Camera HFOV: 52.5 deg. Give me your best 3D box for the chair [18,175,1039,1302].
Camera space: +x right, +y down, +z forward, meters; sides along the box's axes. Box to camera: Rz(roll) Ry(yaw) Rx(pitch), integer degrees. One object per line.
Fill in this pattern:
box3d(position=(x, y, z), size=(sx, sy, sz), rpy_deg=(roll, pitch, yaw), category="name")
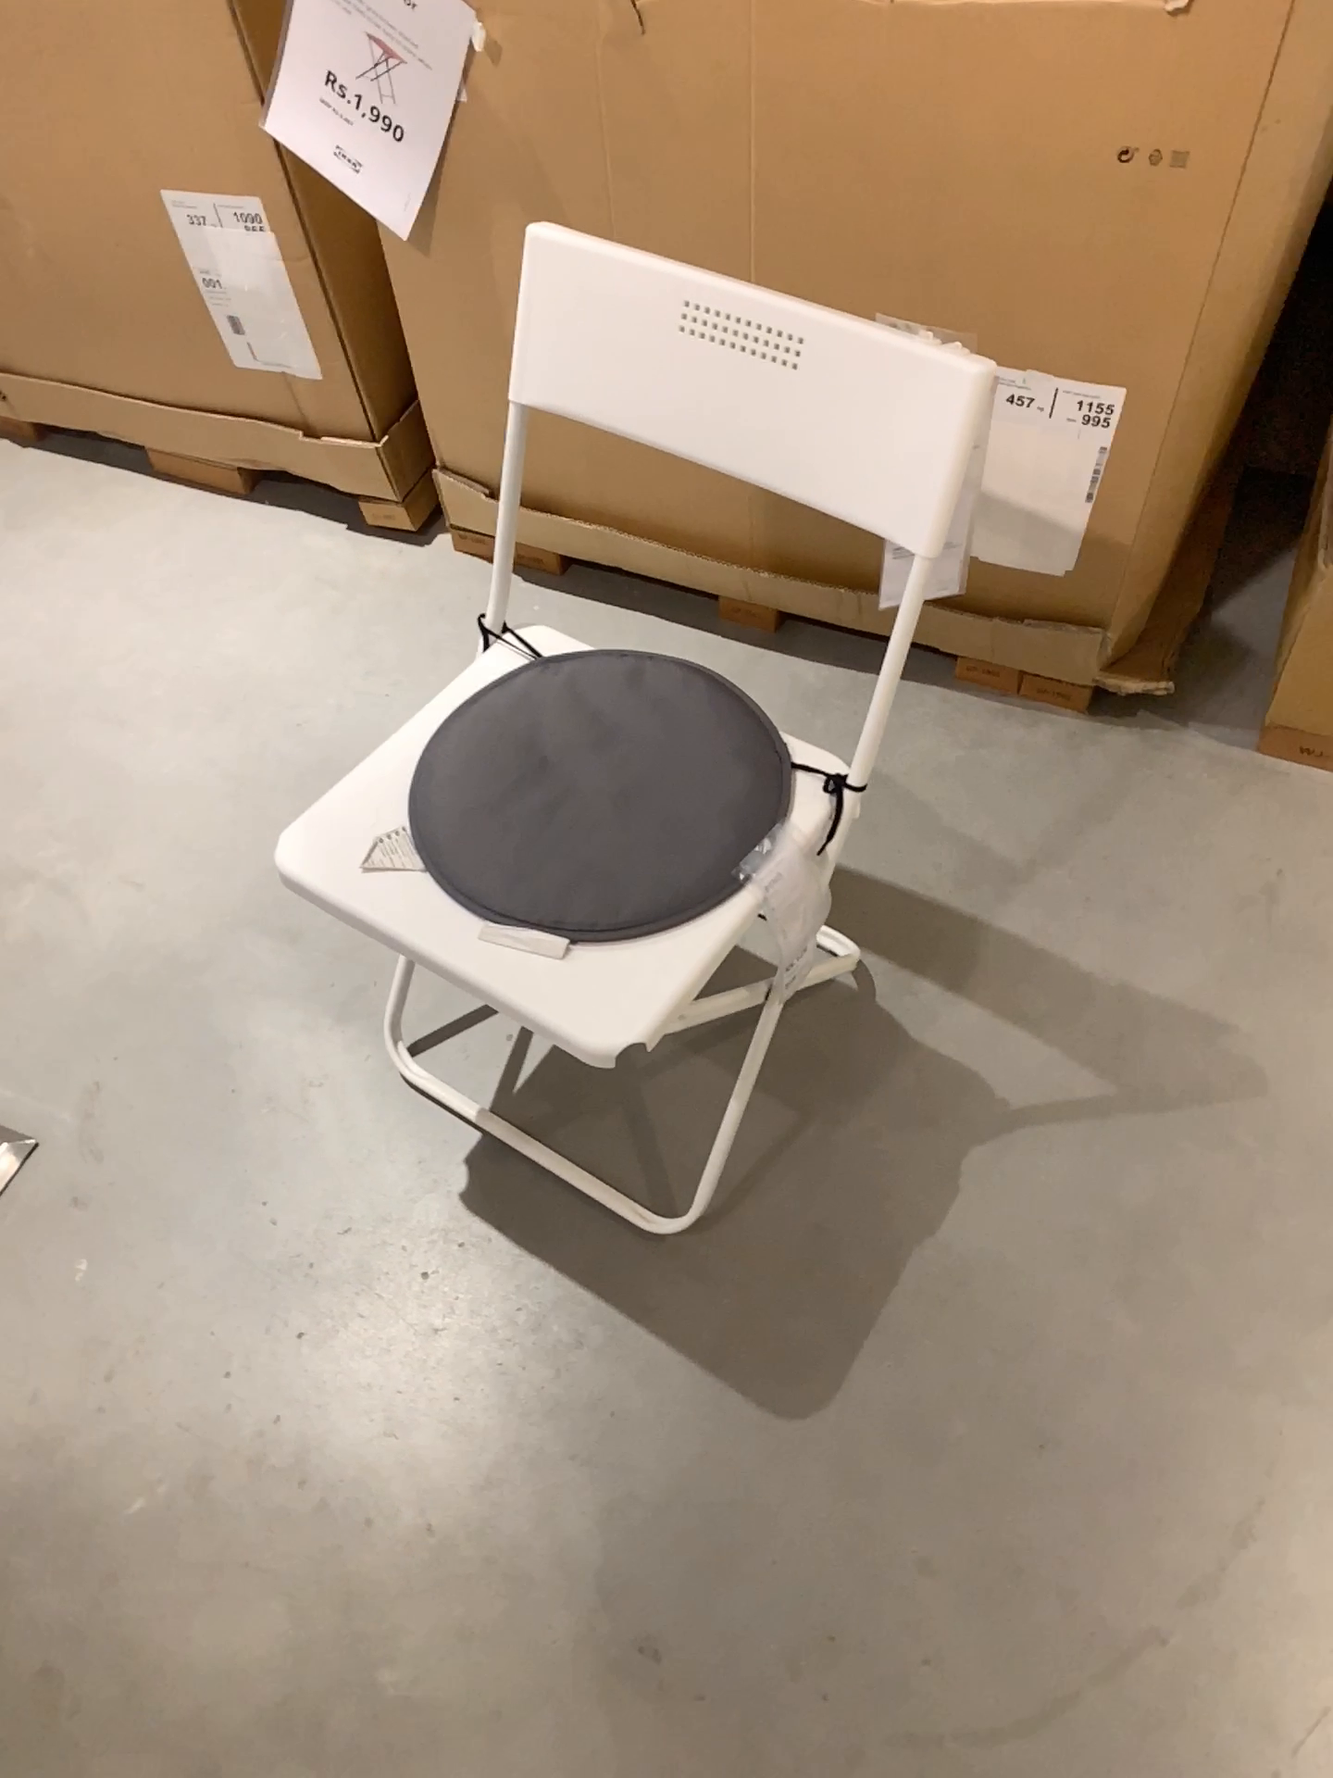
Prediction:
box3d(position=(-0.065, -0.094, 1.195), size=(0.491, 0.738, 0.481), rpy_deg=(28, 60, 22), category="chair")
